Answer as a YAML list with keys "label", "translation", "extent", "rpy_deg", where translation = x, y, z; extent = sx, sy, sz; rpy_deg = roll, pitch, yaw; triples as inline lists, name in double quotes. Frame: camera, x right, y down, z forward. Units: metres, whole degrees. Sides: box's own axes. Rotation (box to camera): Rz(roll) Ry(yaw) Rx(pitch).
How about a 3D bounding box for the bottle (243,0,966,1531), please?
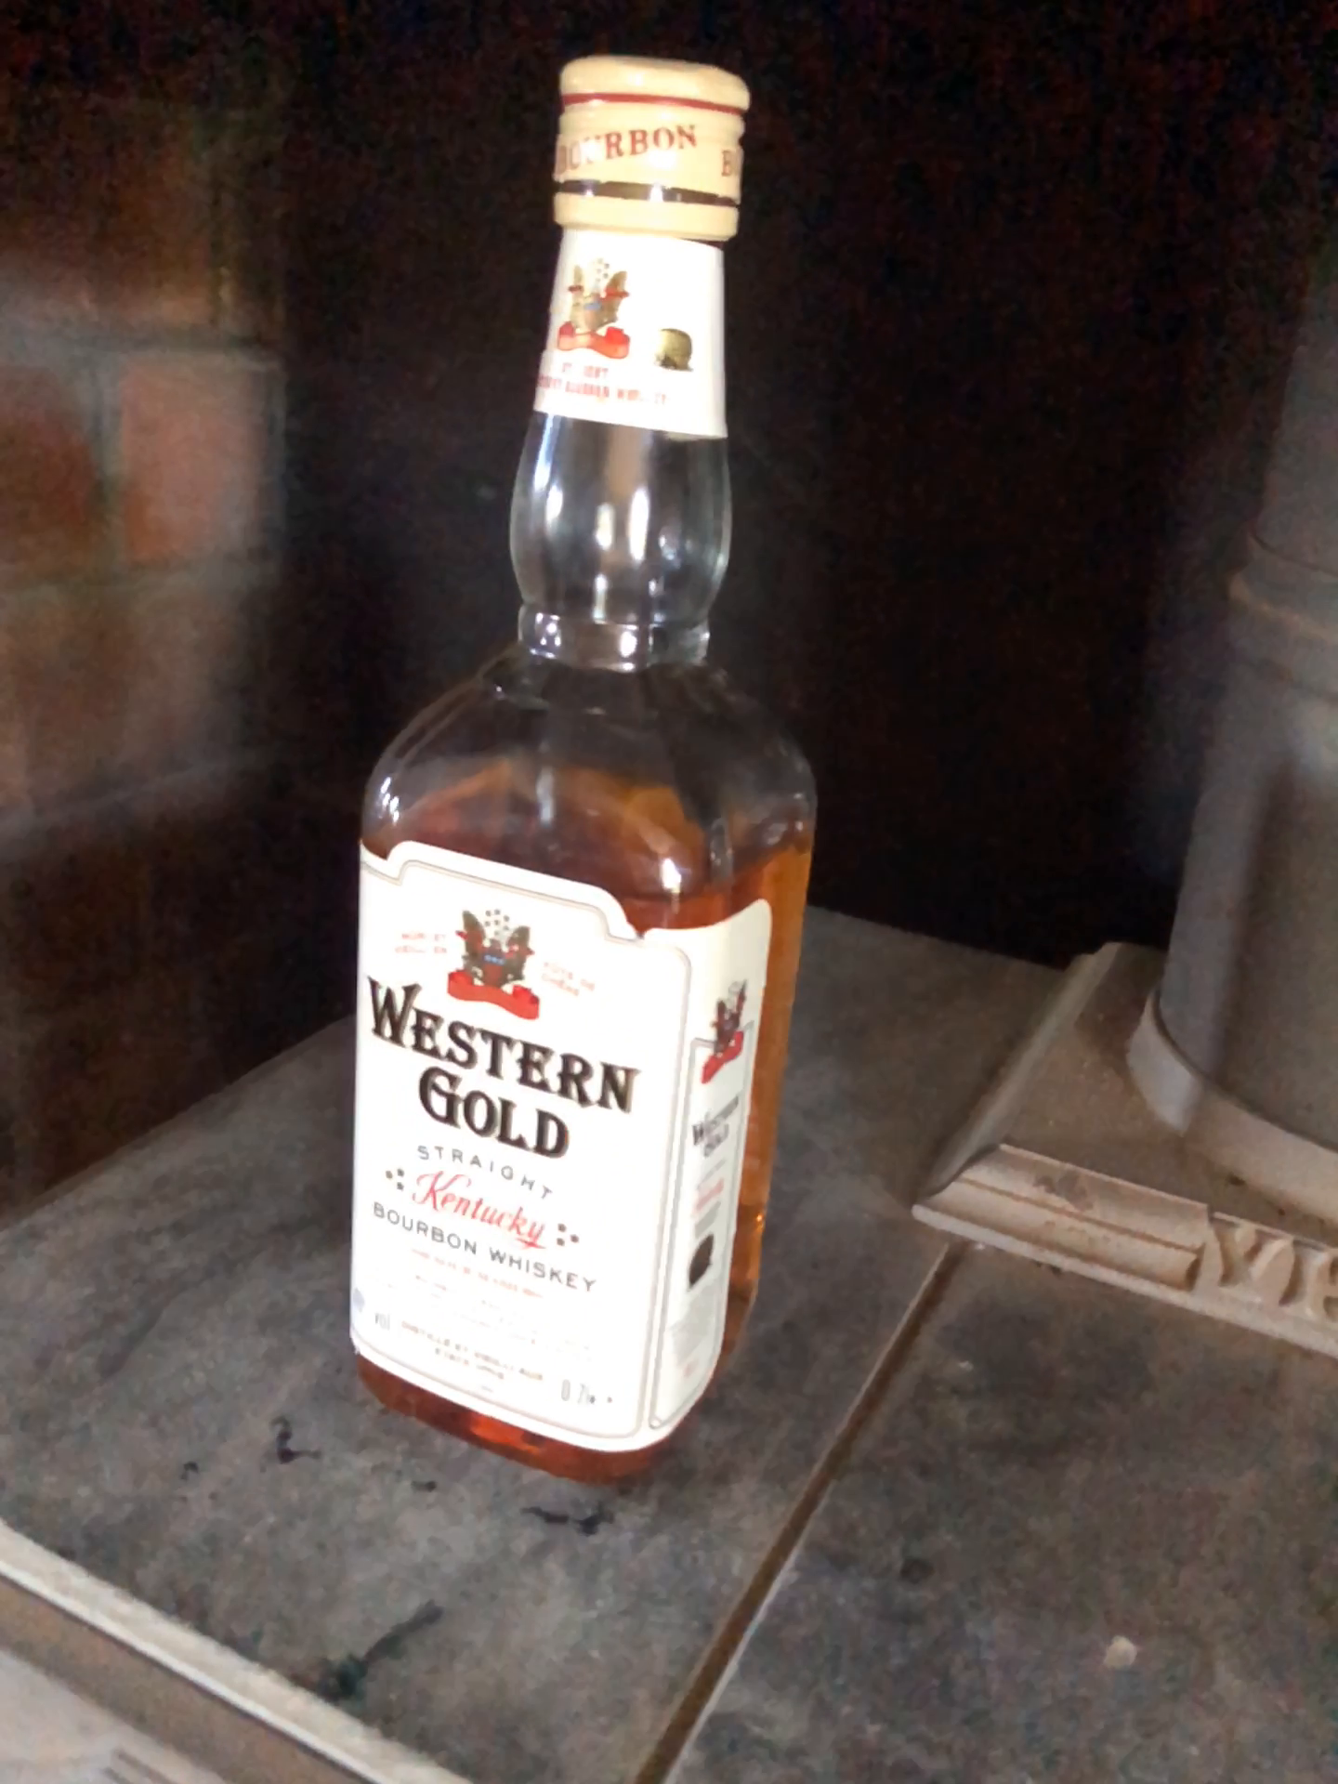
- label: "bottle"
  translation: [-0.014, -0.020, 0.282]
  extent: [0.090, 0.249, 0.081]
  rpy_deg: [13, 22, 22]
